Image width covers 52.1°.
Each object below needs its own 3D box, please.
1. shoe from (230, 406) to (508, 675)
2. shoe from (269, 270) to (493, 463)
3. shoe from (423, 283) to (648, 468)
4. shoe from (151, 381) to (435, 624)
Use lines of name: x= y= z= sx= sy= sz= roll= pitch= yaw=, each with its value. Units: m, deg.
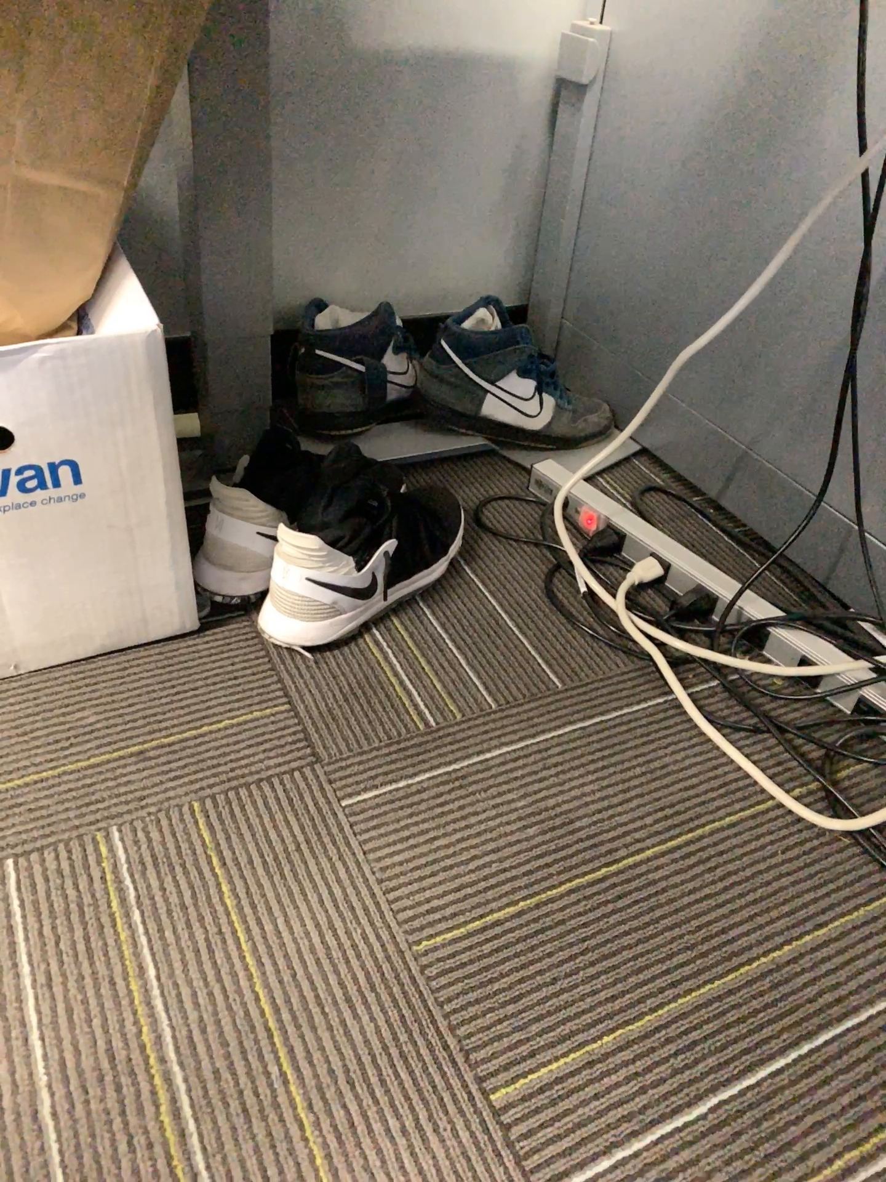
shoe: x=-0.066 y=-0.062 z=0.904 sx=0.100 sy=0.129 sz=0.291 roll=29 pitch=43 yaw=25
shoe: x=-0.079 y=-0.323 z=1.256 sx=0.130 sy=0.169 sz=0.331 roll=24 pitch=34 yaw=21
shoe: x=0.118 y=-0.294 z=1.247 sx=0.260 sy=0.159 sz=0.131 roll=10 pitch=37 yaw=-9
shoe: x=-0.149 y=-0.105 z=0.972 sx=0.100 sy=0.129 sz=0.301 roll=31 pitch=44 yaw=27
